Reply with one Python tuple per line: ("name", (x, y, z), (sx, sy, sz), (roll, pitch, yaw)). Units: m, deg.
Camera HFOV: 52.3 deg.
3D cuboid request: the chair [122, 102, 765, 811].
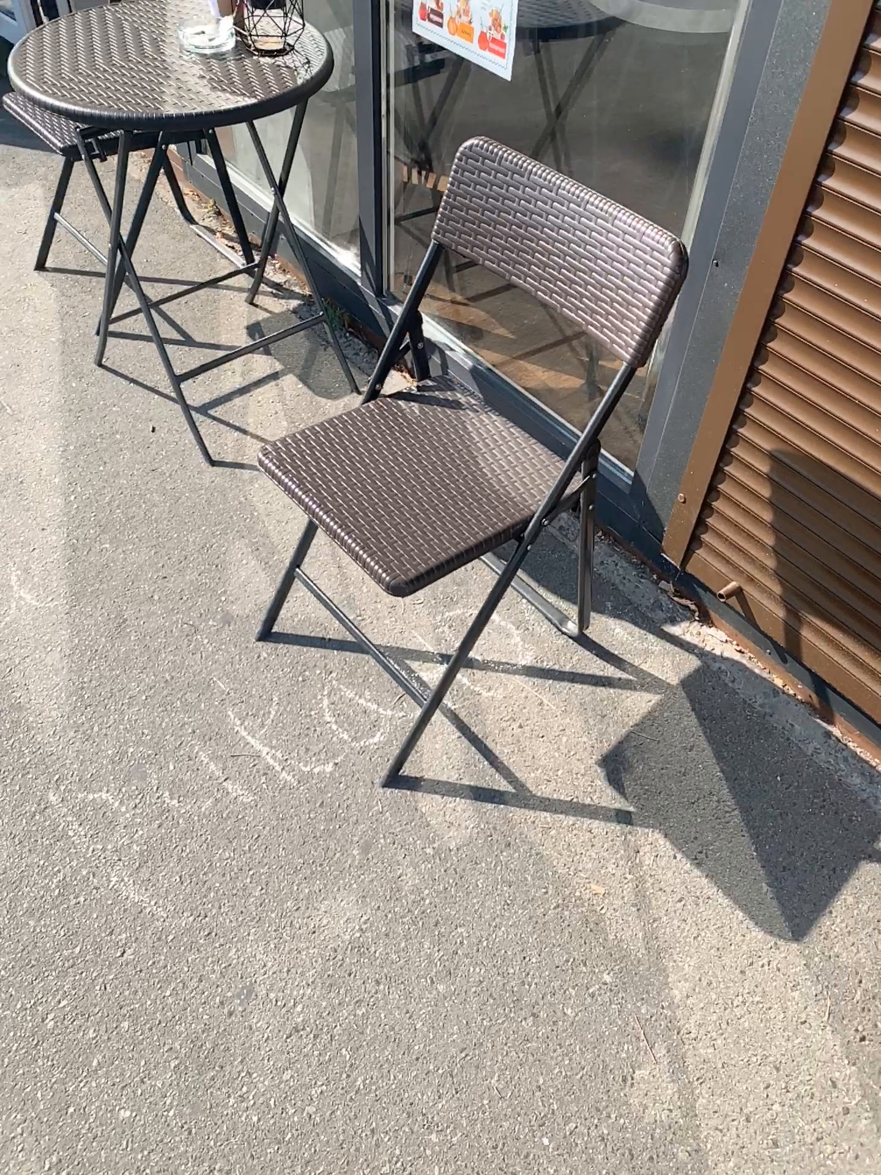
("chair", (-0.011, -0.189, 1.366), (0.611, 0.767, 0.481), (-30, 57, -27))
